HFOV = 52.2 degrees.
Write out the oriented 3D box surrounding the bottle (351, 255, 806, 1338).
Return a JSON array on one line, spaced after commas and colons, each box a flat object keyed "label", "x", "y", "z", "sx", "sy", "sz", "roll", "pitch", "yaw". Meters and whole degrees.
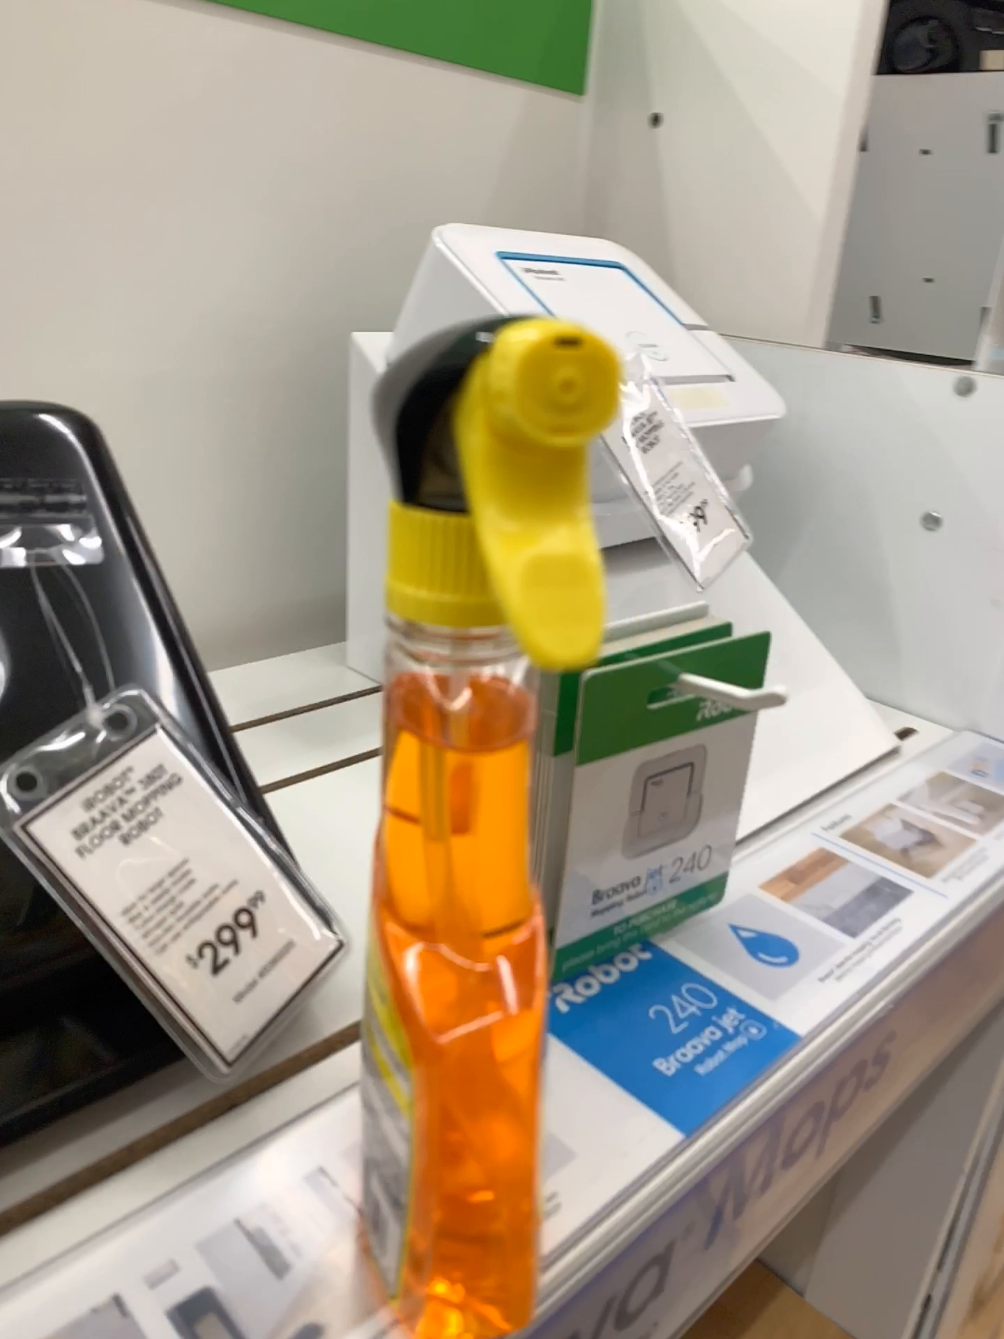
[{"label": "bottle", "x": 0.000, "y": 0.031, "z": 0.233, "sx": 0.050, "sy": 0.226, "sz": 0.100, "roll": 0, "pitch": 22, "yaw": -14}]
